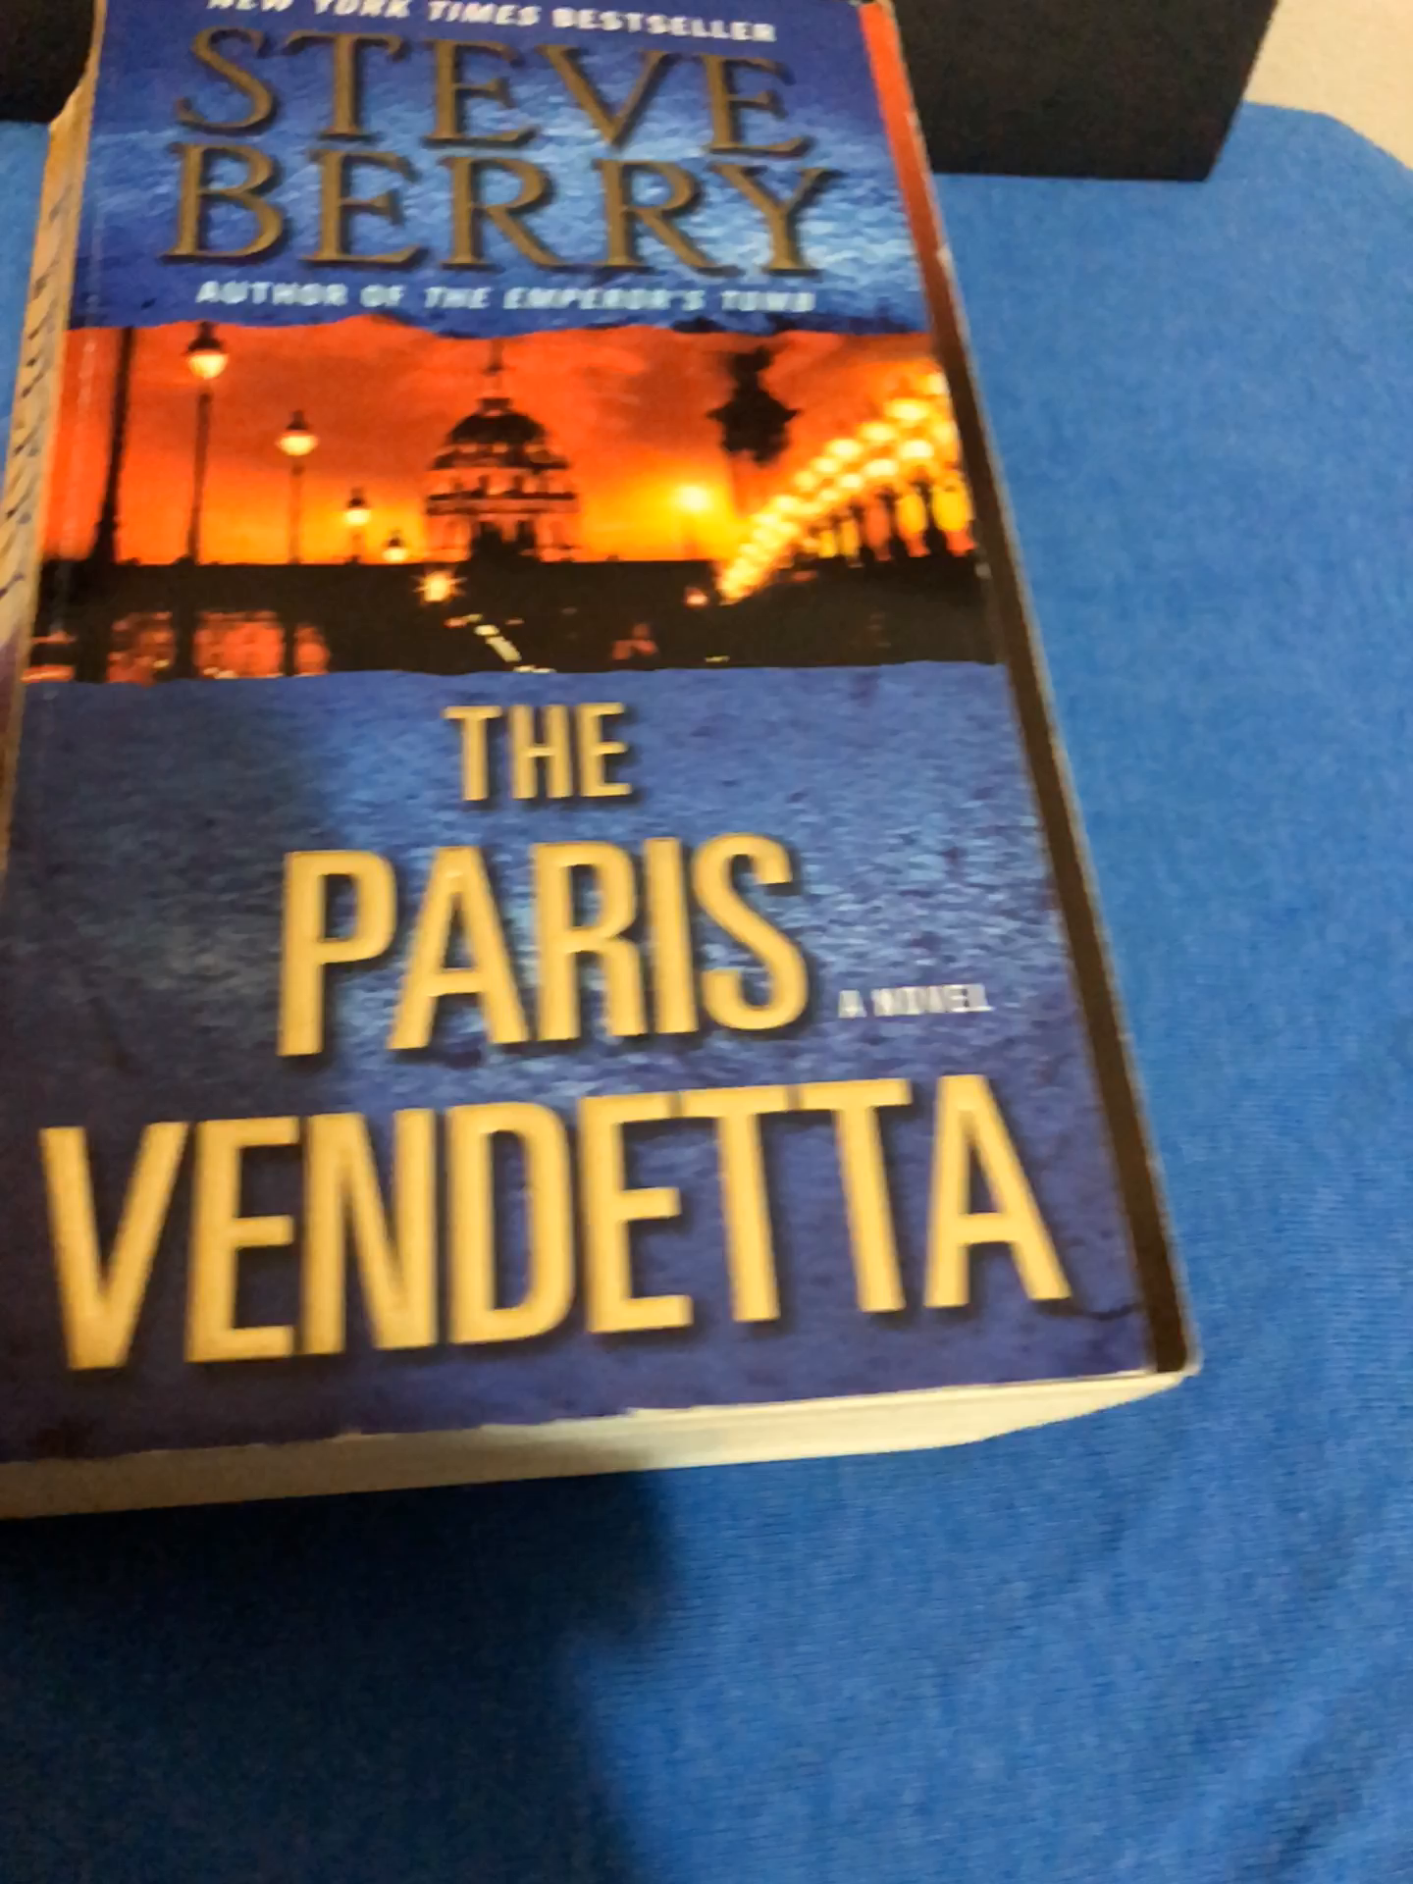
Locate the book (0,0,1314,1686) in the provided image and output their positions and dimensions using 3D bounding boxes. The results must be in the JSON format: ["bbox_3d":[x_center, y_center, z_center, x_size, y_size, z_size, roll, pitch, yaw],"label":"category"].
[{"bbox_3d":[-0.025,-0.033,0.183,0.120,0.050,0.200,0,62,-14],"label":"book"}]
